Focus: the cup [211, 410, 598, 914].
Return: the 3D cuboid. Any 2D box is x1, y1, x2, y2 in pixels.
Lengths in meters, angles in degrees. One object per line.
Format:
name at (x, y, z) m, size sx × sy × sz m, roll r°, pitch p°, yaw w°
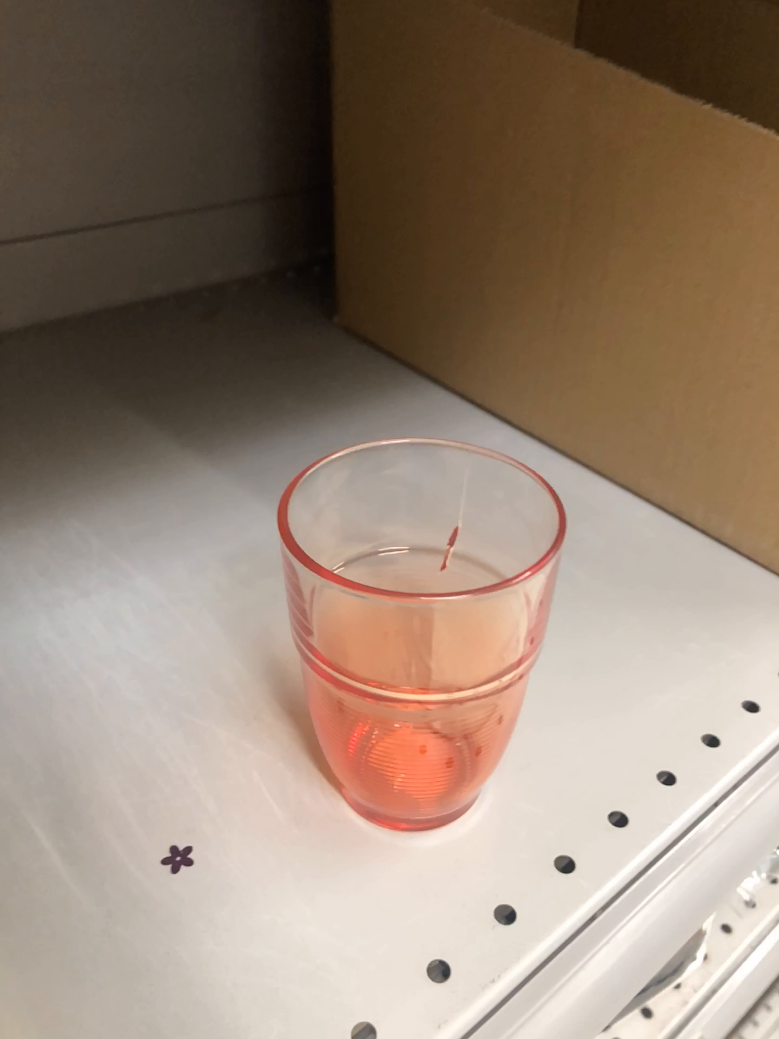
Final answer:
cup at (0.007, 0.037, 0.254) m, size 0.074 × 0.100 × 0.080 m, roll 1°, pitch 33°, yaw -1°
